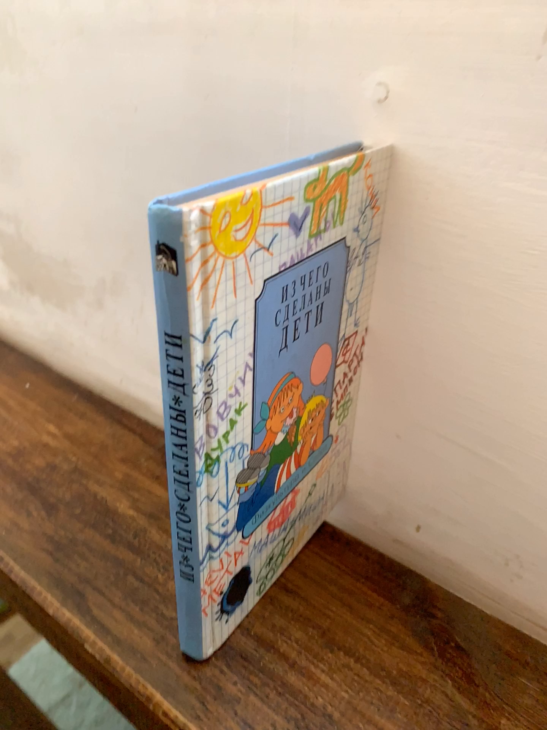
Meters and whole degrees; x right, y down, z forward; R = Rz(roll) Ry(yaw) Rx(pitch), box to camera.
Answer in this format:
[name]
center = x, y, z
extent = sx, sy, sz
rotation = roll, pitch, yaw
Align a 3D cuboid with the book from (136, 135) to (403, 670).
[book]
center = 0.005, 0.015, 0.243
extent = 0.020, 0.194, 0.131
rotation = 20, 35, 29
